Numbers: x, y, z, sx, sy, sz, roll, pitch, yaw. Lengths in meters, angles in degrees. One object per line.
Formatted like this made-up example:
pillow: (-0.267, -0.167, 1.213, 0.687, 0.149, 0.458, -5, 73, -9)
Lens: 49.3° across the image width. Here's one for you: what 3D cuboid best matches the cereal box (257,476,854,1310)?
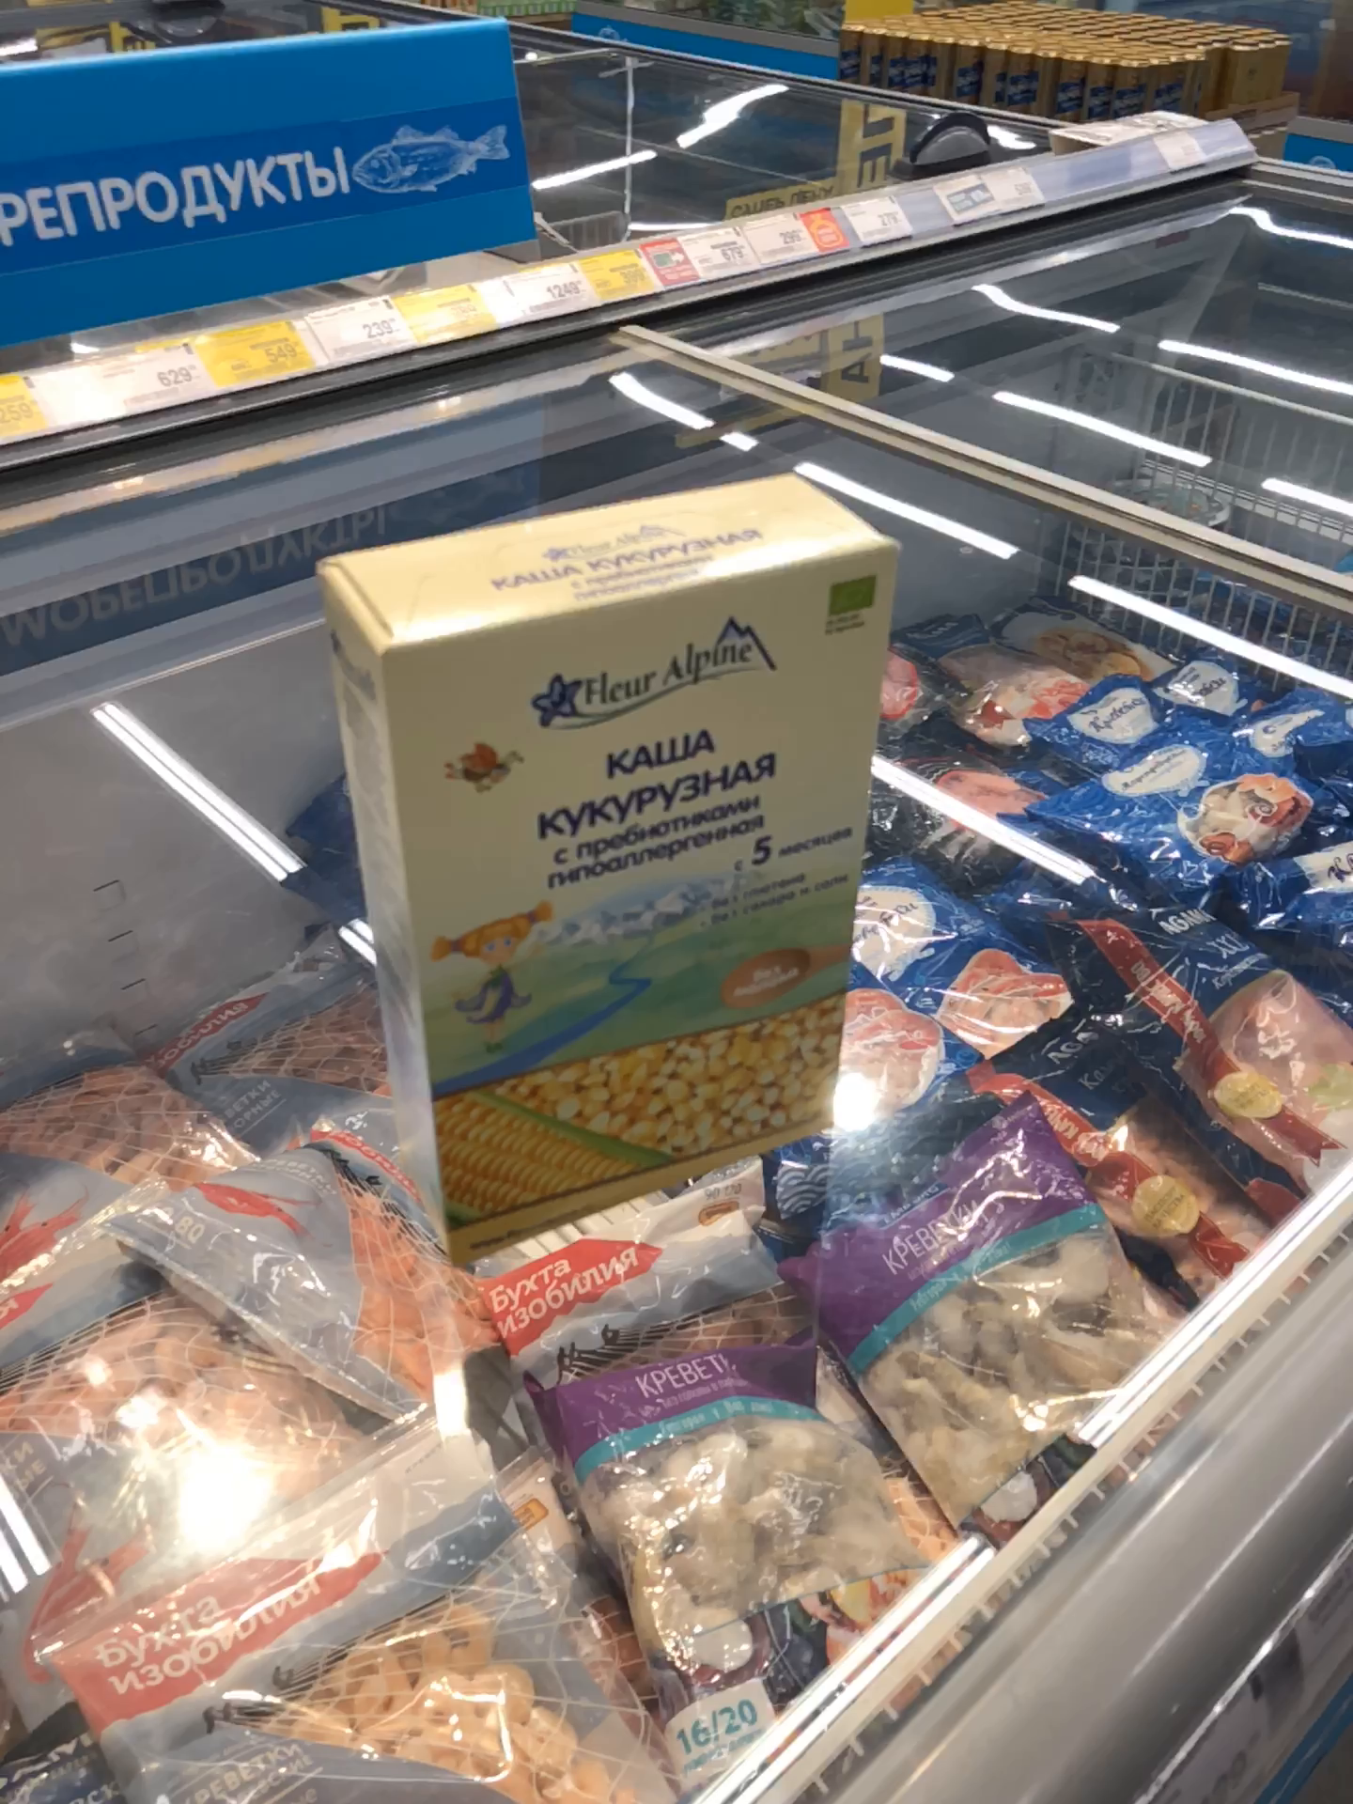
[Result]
cereal box: (-0.028, 0.003, 0.406, 0.130, 0.209, 0.050, -16, 40, -22)
